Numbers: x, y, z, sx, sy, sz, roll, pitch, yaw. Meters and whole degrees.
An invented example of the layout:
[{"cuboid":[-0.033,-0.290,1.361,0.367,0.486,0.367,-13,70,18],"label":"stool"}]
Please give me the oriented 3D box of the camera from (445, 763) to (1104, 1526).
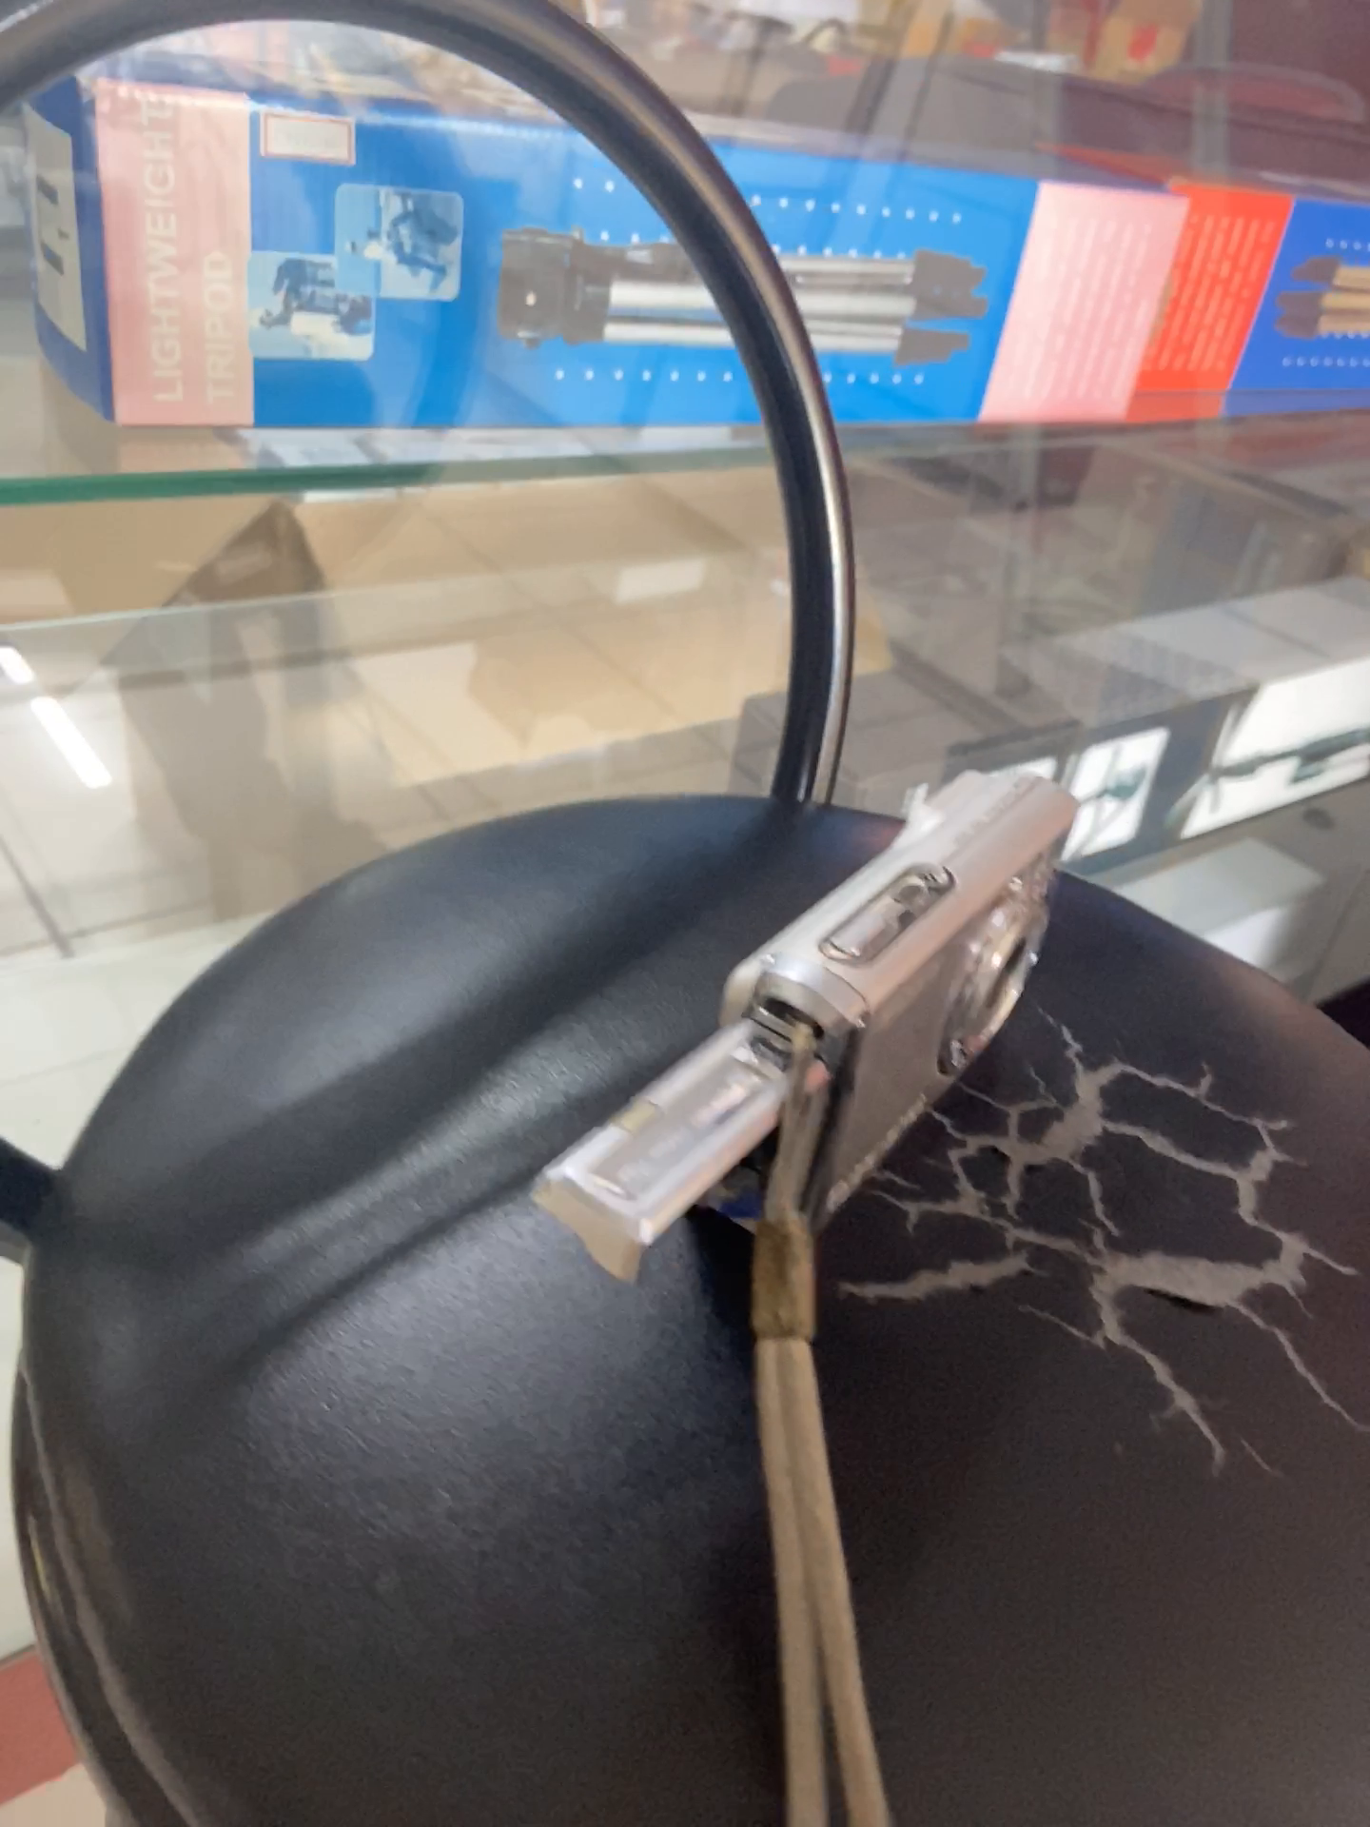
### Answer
[{"cuboid":[0.021,0.026,0.228,0.030,0.053,0.137,27,37,24],"label":"camera"}]
